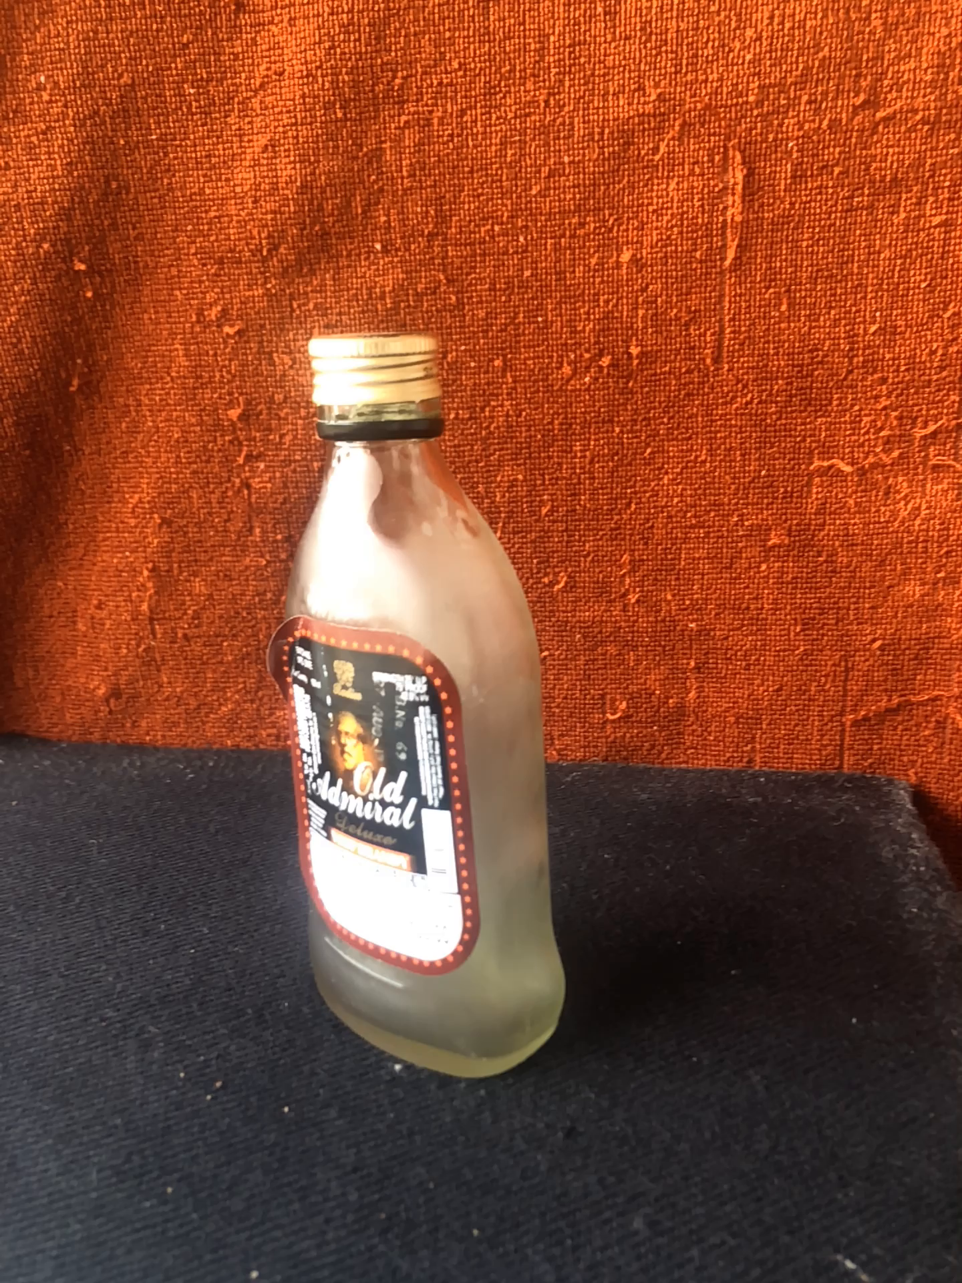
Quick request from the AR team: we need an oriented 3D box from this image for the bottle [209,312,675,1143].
[{"bbox_3d":[-0.007,0.012,0.220,0.070,0.149,0.050,14,24,37],"label":"bottle"}]
